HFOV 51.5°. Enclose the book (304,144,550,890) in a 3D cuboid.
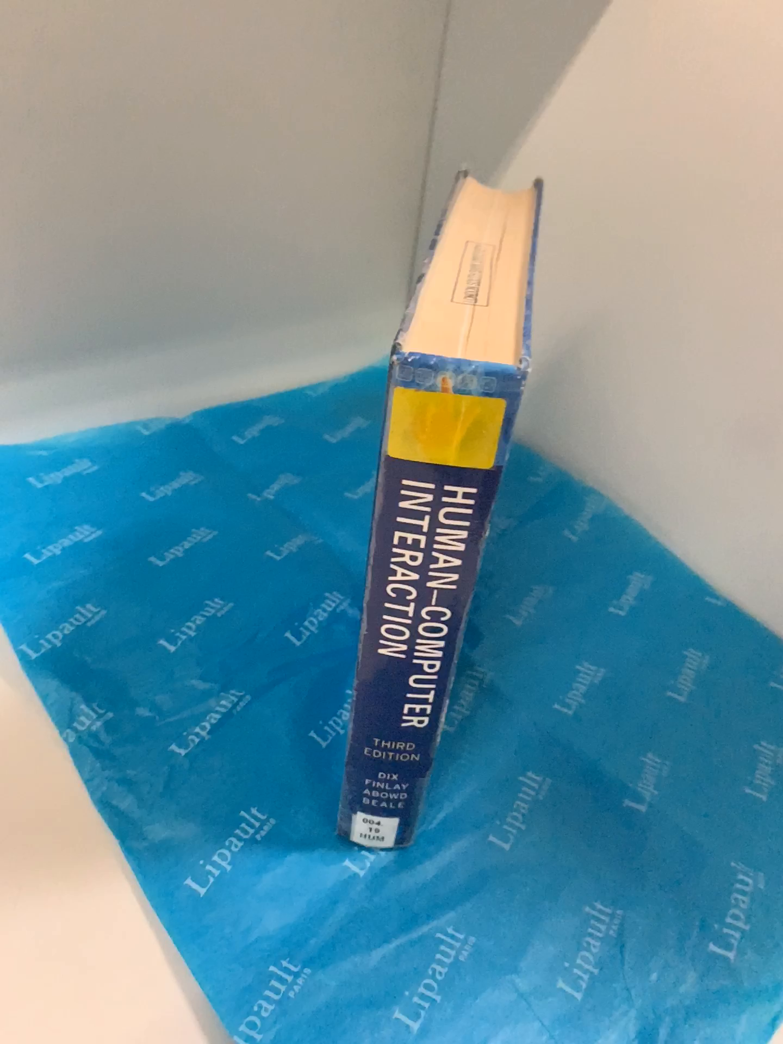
[{"bbox_3d":[0.018,-0.010,0.373,0.050,0.258,0.222,11,35,3],"label":"book"}]
